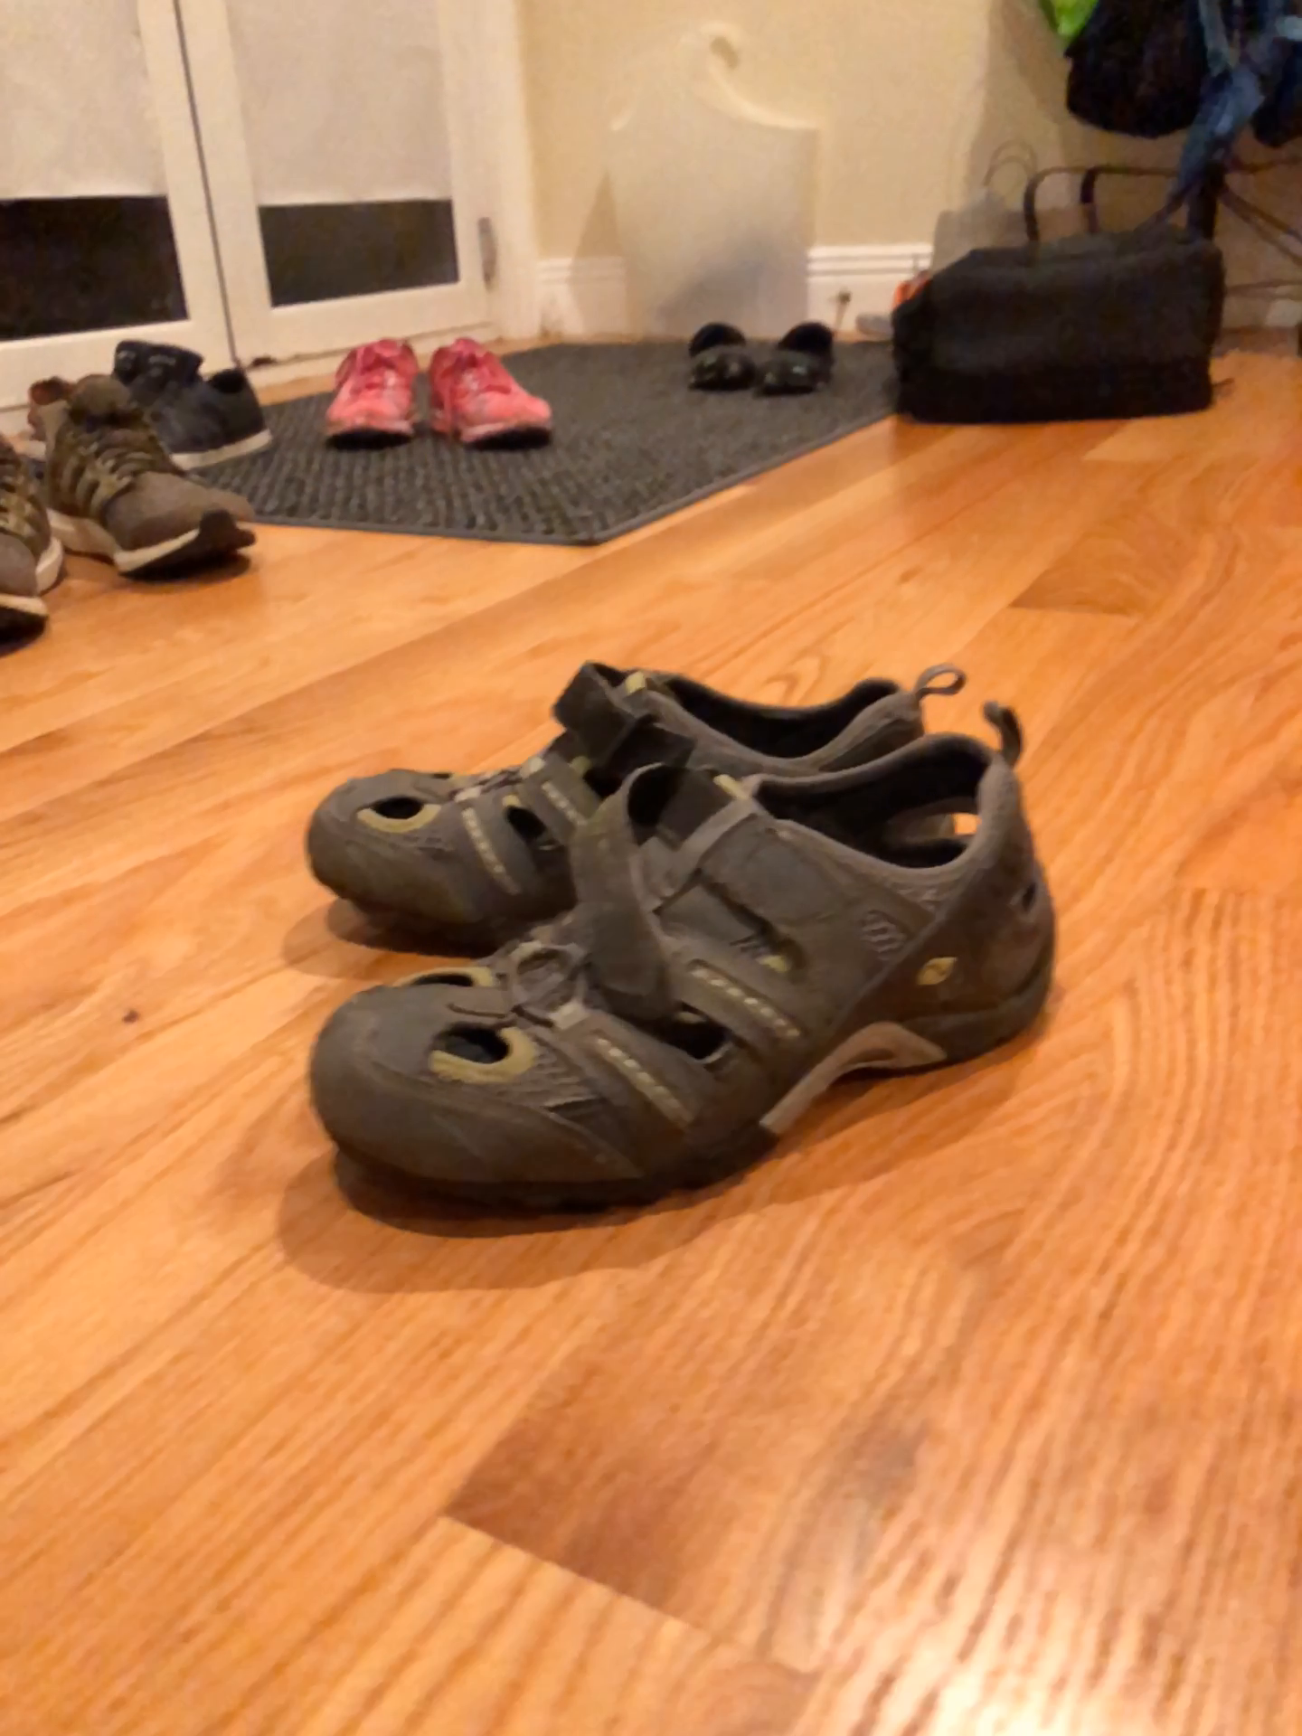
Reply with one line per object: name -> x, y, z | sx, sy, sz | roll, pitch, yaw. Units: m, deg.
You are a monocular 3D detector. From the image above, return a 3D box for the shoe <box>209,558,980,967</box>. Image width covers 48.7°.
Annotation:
shoe -> -0.015, -0.040, 0.522 | 0.245, 0.113, 0.101 | -1, 24, 4

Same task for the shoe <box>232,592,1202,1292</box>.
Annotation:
shoe -> 0.023, 0.005, 0.412 | 0.245, 0.113, 0.101 | -14, 26, -23
